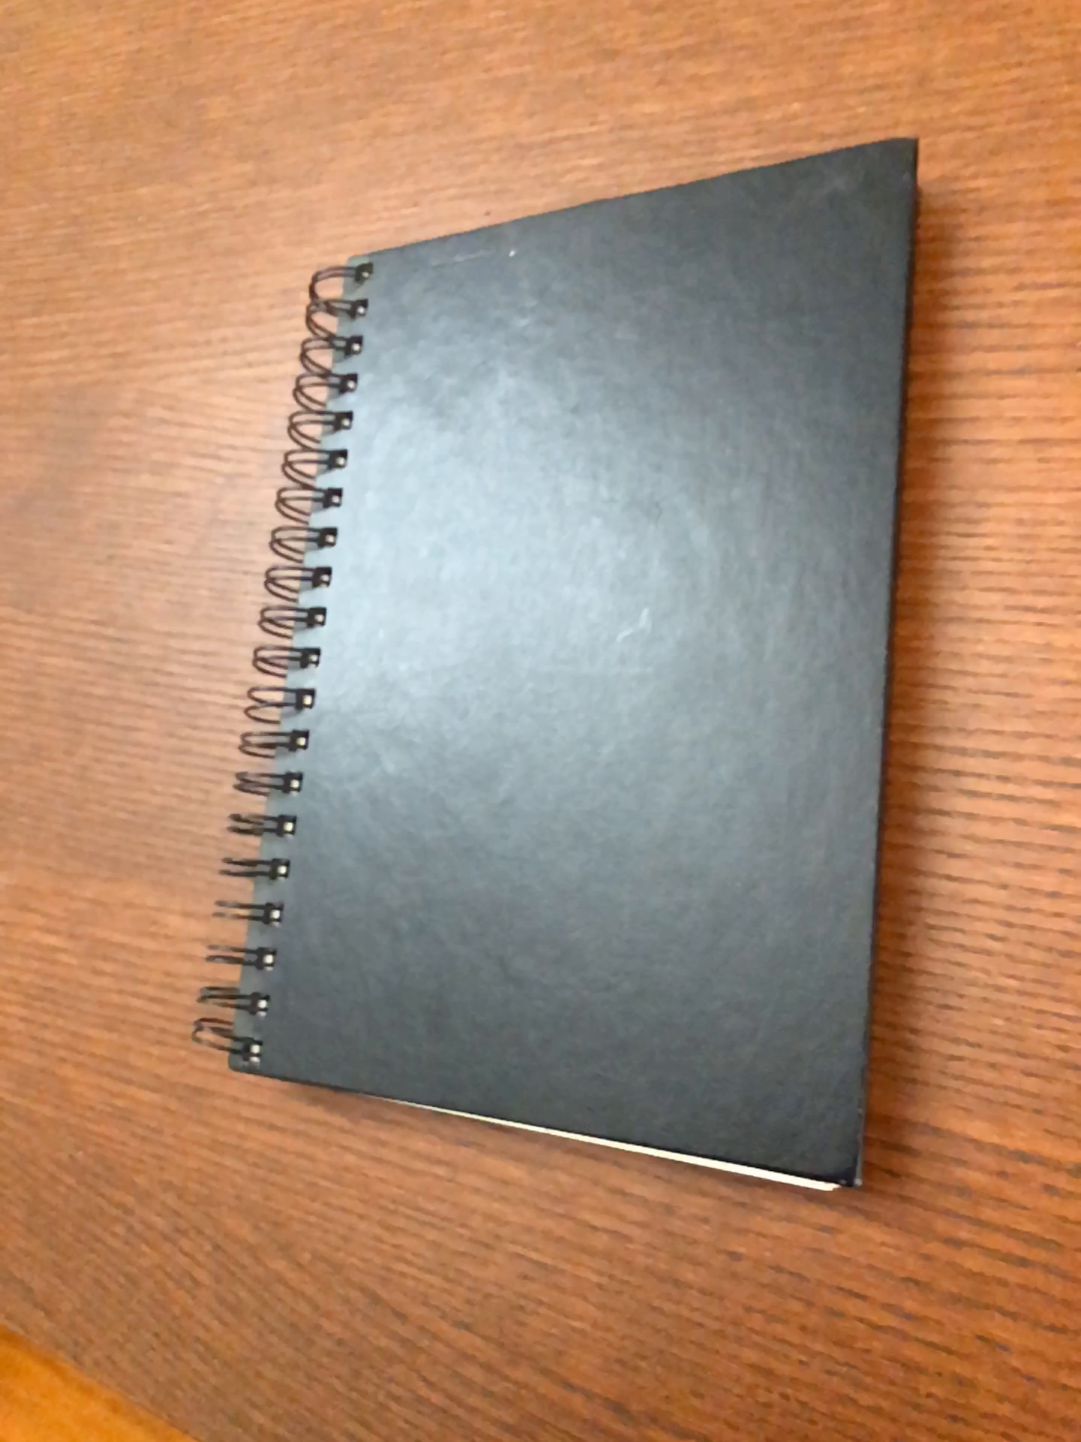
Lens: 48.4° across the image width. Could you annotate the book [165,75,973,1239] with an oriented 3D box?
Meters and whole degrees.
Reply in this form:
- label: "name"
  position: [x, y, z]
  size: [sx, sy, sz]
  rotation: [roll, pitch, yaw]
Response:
- label: "book"
  position: [0.004, -0.022, 0.321]
  size: [0.201, 0.030, 0.260]
  rotation: [-1, 77, 29]
